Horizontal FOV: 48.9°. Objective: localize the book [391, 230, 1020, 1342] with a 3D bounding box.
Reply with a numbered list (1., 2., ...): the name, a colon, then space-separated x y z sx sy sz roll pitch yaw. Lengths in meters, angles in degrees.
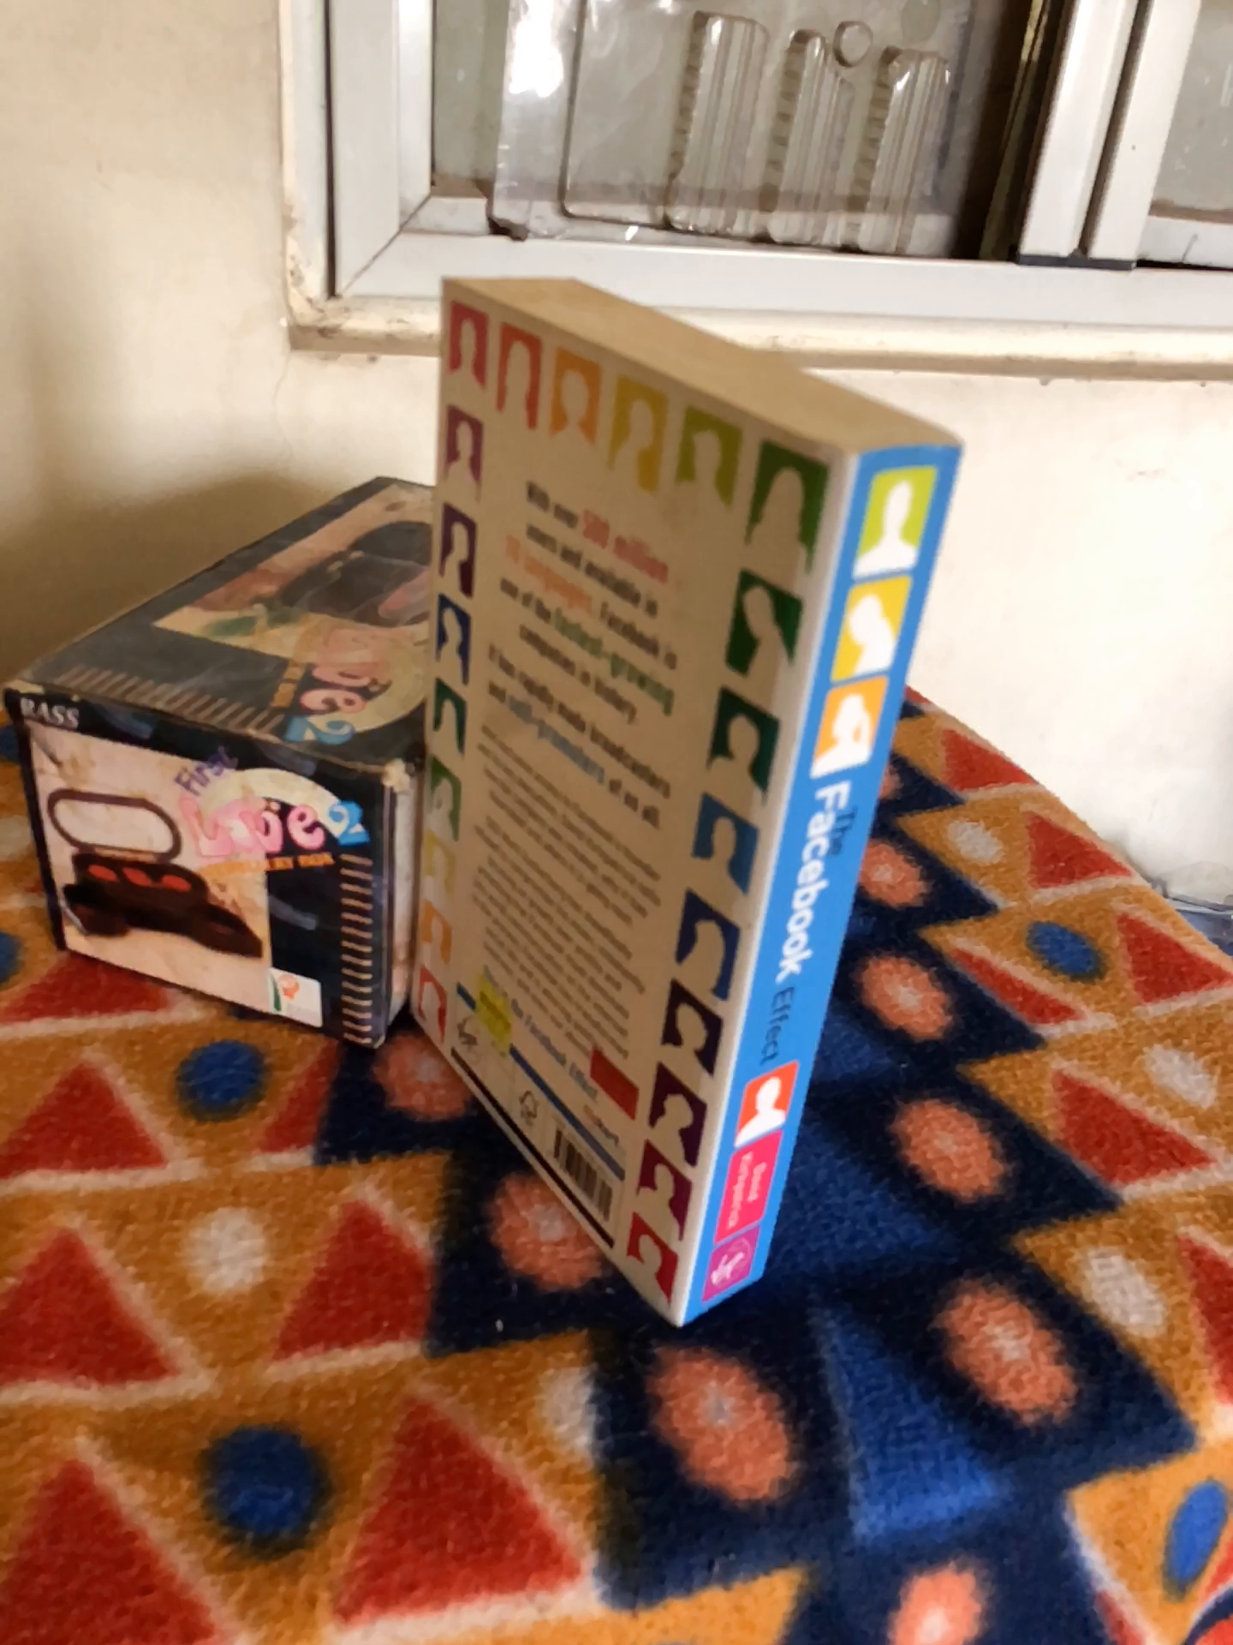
1. book: 0.001 -0.010 0.325 0.040 0.219 0.150 -17 38 -31
